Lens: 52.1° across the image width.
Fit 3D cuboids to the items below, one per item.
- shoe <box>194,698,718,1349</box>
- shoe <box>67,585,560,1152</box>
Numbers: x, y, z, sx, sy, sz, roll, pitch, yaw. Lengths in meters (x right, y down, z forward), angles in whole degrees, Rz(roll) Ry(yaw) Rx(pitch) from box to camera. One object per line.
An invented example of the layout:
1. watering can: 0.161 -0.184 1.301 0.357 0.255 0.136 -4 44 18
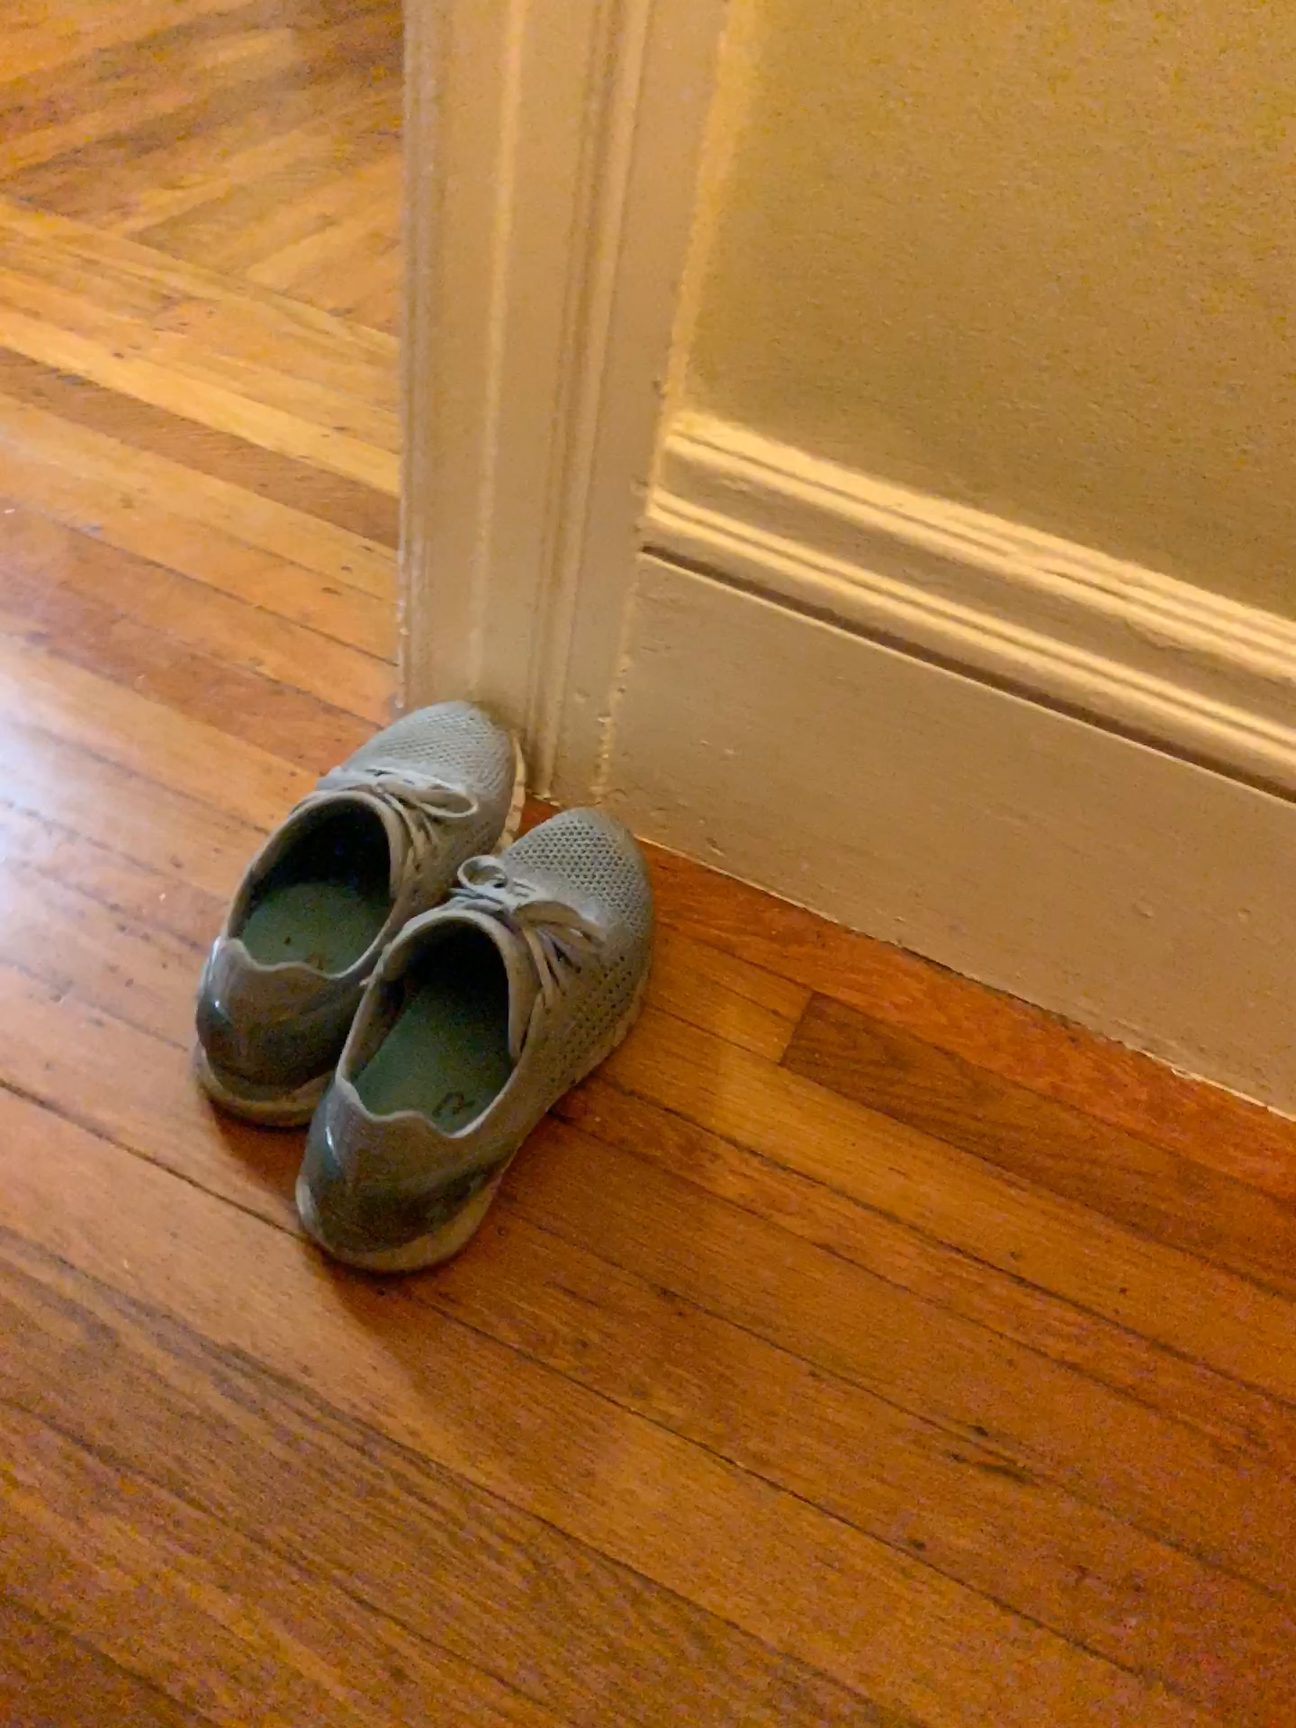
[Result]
1. shoe: -0.071 0.054 0.592 0.110 0.090 0.271 21 47 8
2. shoe: -0.138 -0.012 0.614 0.110 0.080 0.261 17 46 5
